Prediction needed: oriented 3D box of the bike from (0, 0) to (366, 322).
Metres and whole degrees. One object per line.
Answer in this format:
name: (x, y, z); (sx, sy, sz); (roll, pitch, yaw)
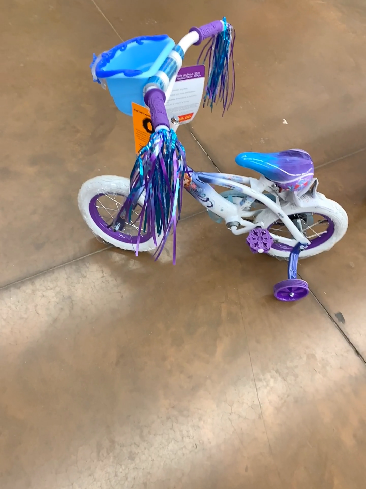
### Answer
bike: (0.127, -0.170, 0.931); (0.804, 0.634, 0.441); (7, 57, -6)
